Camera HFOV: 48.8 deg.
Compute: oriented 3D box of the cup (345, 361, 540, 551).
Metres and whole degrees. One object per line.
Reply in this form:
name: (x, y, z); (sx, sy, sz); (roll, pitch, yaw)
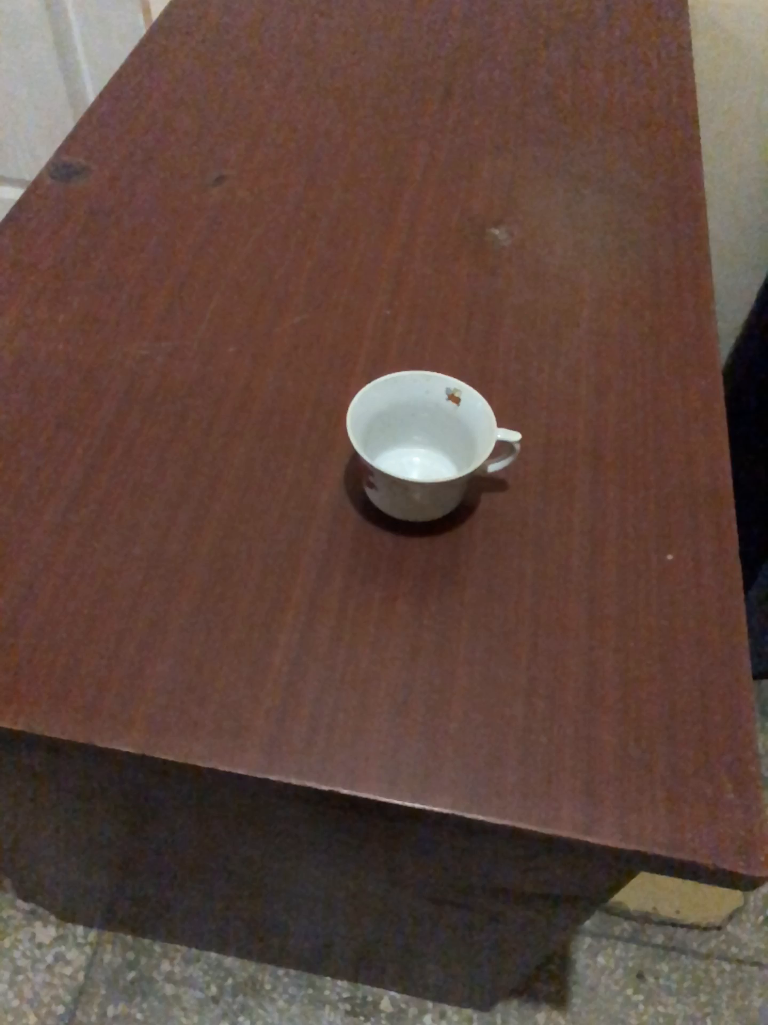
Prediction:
cup: (0.033, -0.036, 0.529); (0.110, 0.059, 0.100); (2, 53, -1)
